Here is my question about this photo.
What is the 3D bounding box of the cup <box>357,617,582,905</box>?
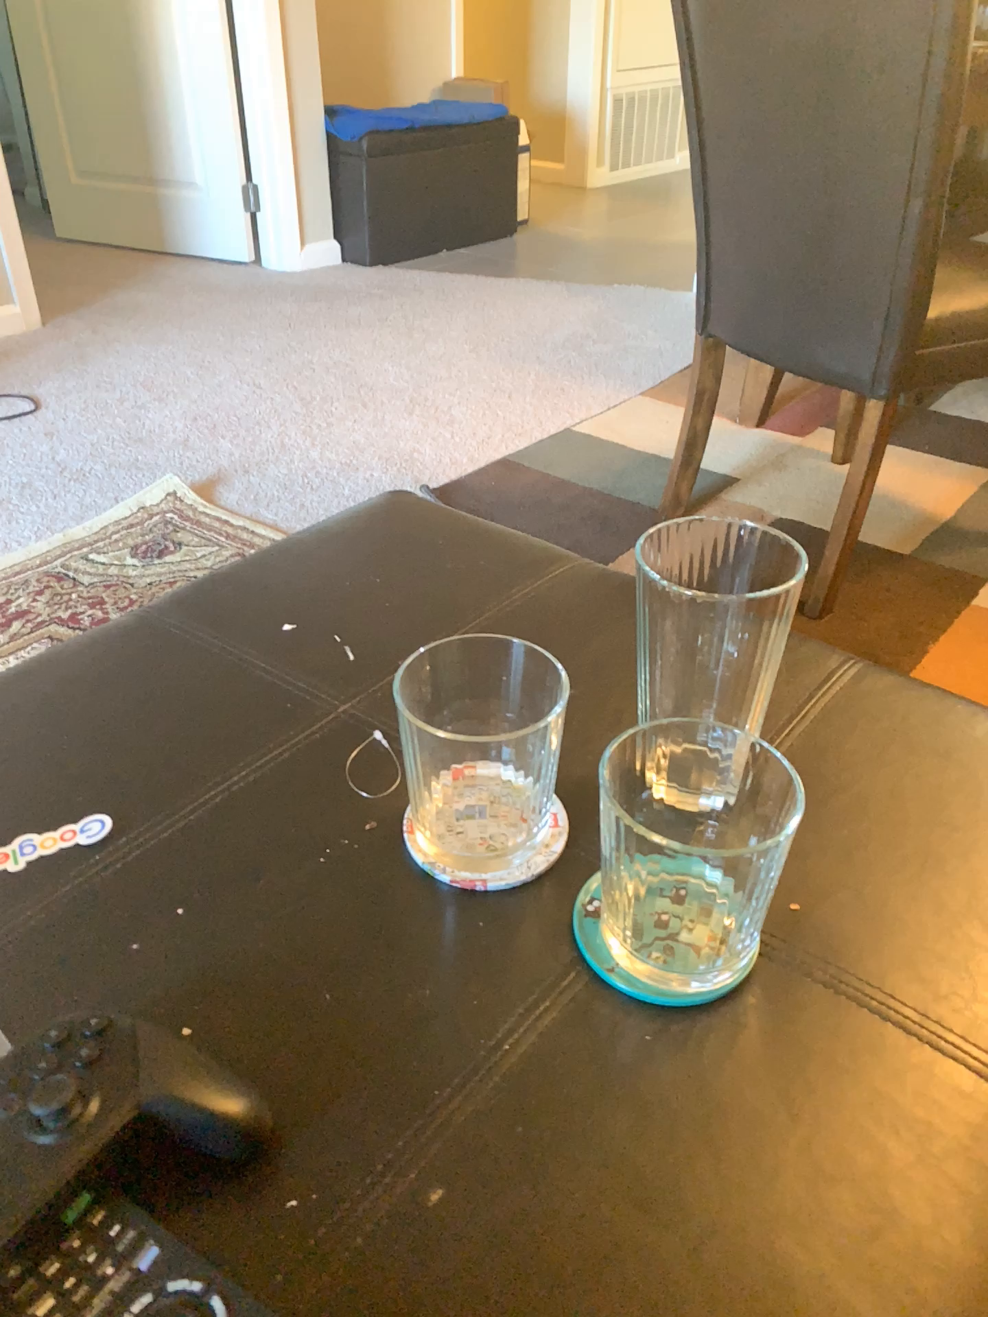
[{"bbox_3d":[-0.014,0.054,0.549,0.090,0.109,0.080,-15,37,-22],"label":"cup"}]

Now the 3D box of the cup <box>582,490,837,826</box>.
[{"bbox_3d":[0.109,-0.002,0.544,0.080,0.139,0.091,-15,37,-22],"label":"cup"}]

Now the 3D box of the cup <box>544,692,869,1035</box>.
[{"bbox_3d":[0.090,0.088,0.458,0.100,0.089,0.091,-15,37,-22],"label":"cup"}]
